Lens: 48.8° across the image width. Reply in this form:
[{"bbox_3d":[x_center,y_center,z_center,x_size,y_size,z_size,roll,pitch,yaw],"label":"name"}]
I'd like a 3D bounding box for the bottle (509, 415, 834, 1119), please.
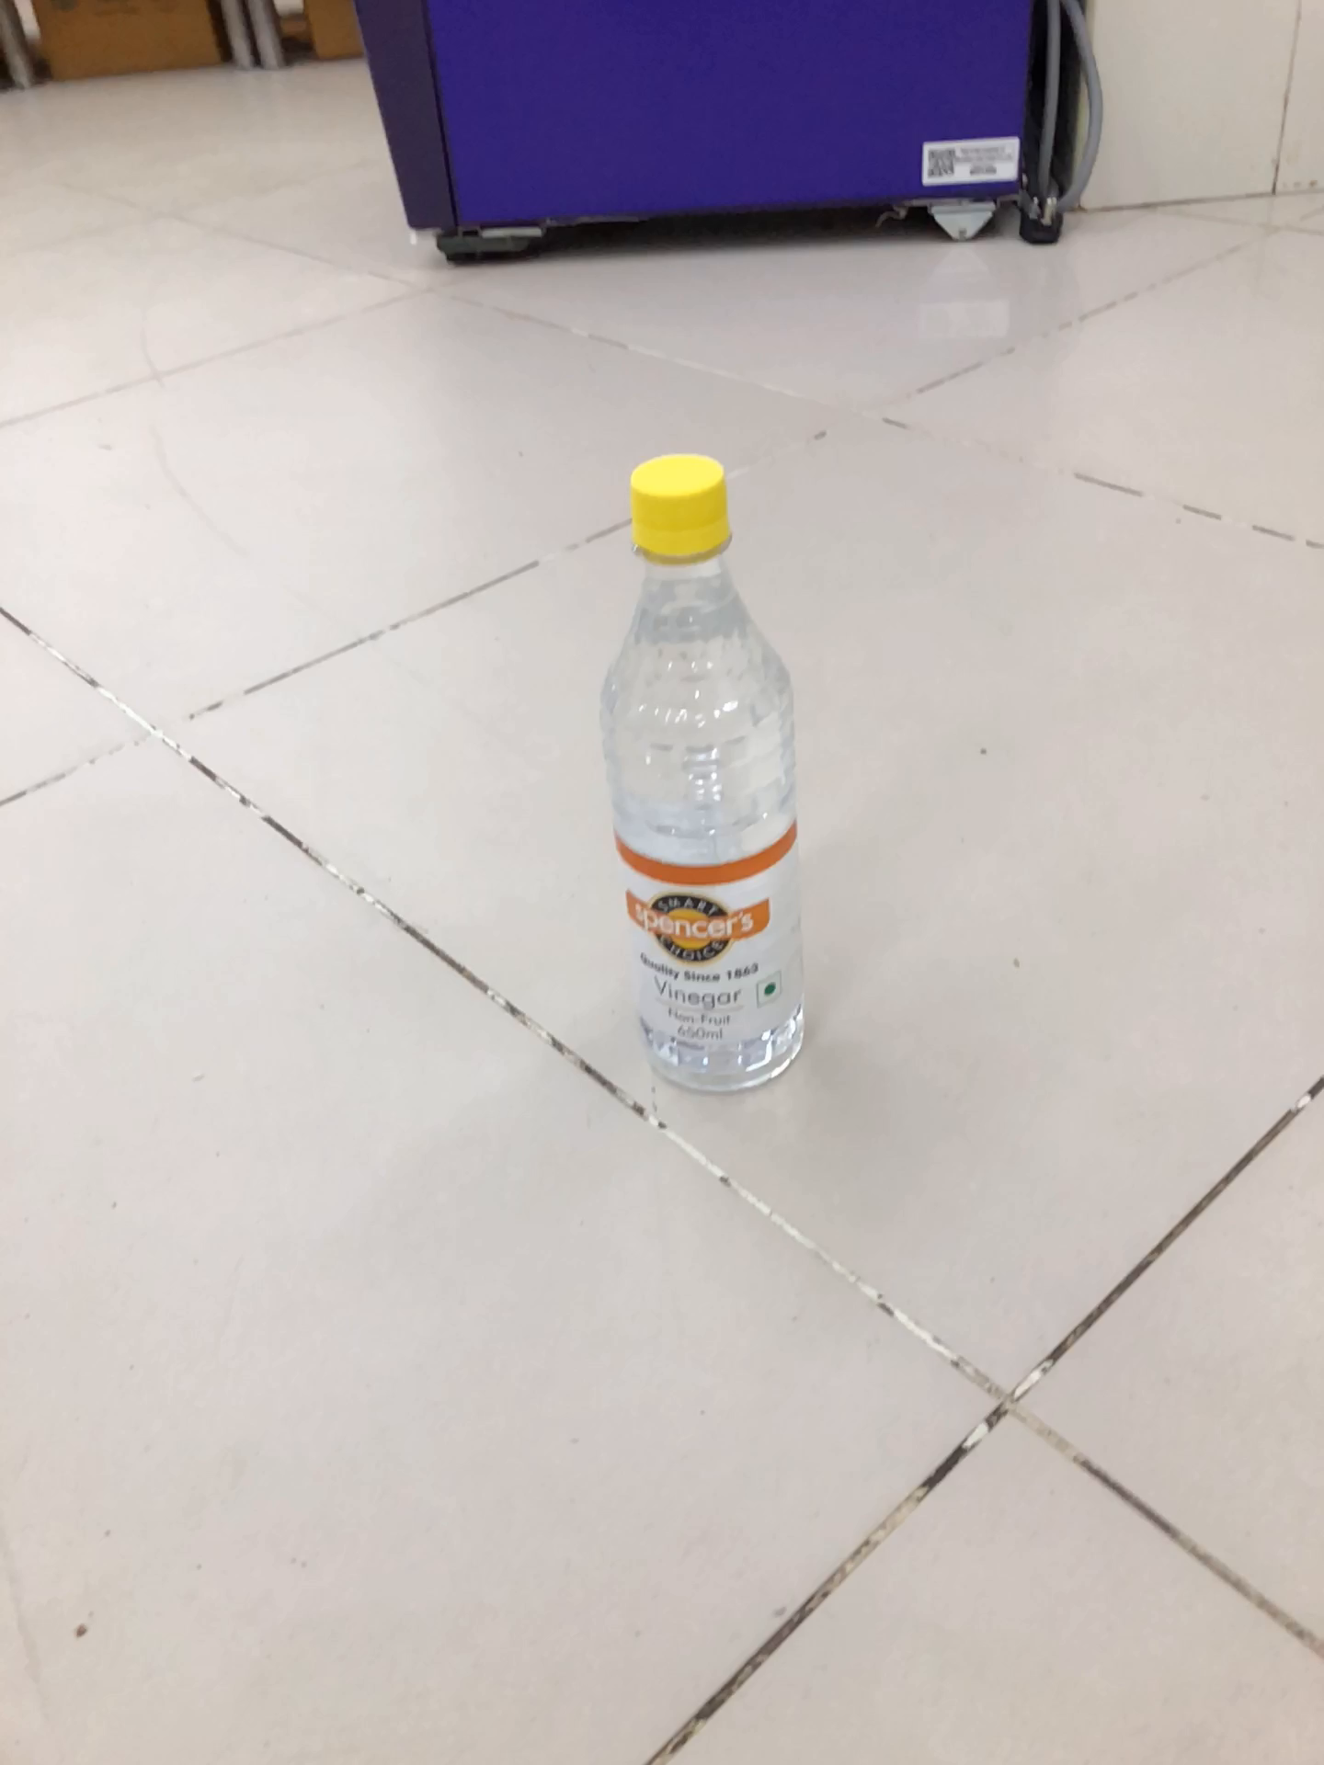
[{"bbox_3d":[0.014,-0.032,0.515,0.080,0.238,0.081,-4,37,3],"label":"bottle"}]
